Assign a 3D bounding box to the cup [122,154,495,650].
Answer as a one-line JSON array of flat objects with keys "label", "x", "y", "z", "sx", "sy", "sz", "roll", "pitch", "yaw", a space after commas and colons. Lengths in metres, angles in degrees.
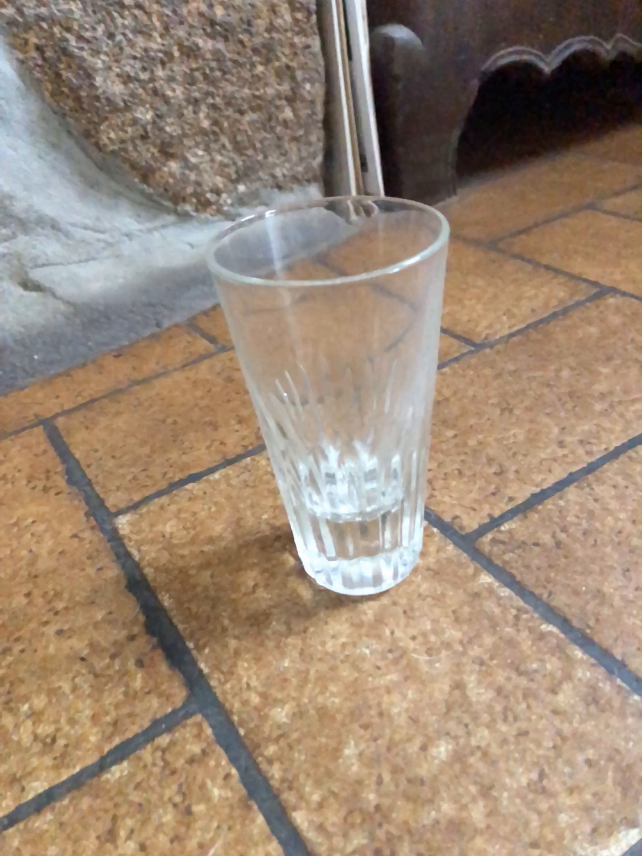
[{"label": "cup", "x": 0.003, "y": -0.011, "z": 0.221, "sx": 0.070, "sy": 0.119, "sz": 0.070, "roll": -6, "pitch": 34, "yaw": 4}]
